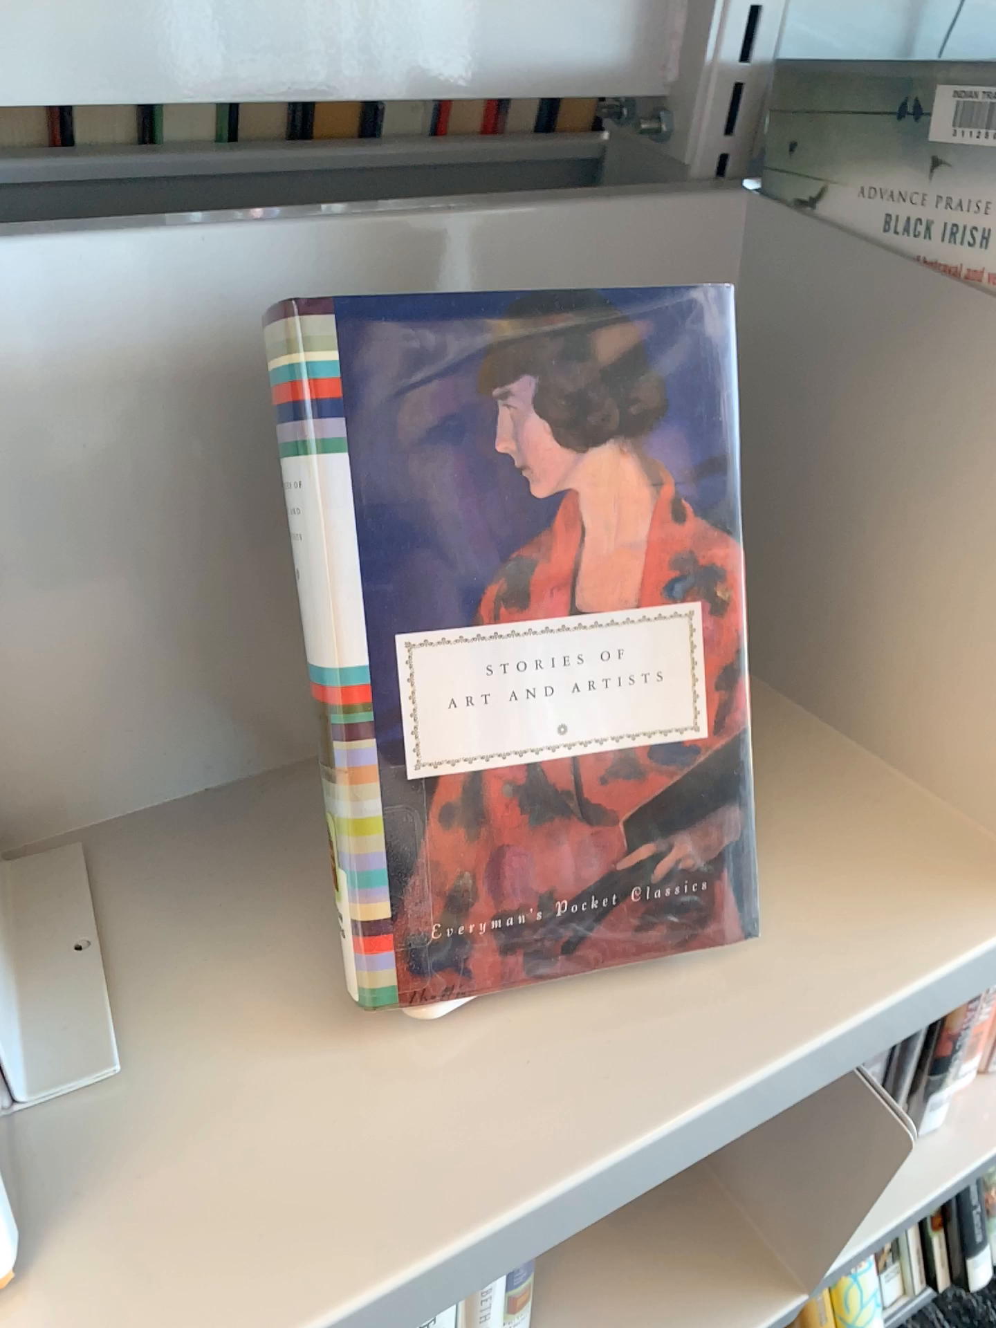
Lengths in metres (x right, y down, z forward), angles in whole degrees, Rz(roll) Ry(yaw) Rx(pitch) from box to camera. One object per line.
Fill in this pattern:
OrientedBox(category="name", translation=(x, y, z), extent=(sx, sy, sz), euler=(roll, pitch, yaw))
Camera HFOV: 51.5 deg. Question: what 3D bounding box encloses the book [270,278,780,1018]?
OrientedBox(category="book", translation=(0.011, -0.007, 0.294), extent=(0.129, 0.187, 0.040), euler=(-6, 10, -13))
